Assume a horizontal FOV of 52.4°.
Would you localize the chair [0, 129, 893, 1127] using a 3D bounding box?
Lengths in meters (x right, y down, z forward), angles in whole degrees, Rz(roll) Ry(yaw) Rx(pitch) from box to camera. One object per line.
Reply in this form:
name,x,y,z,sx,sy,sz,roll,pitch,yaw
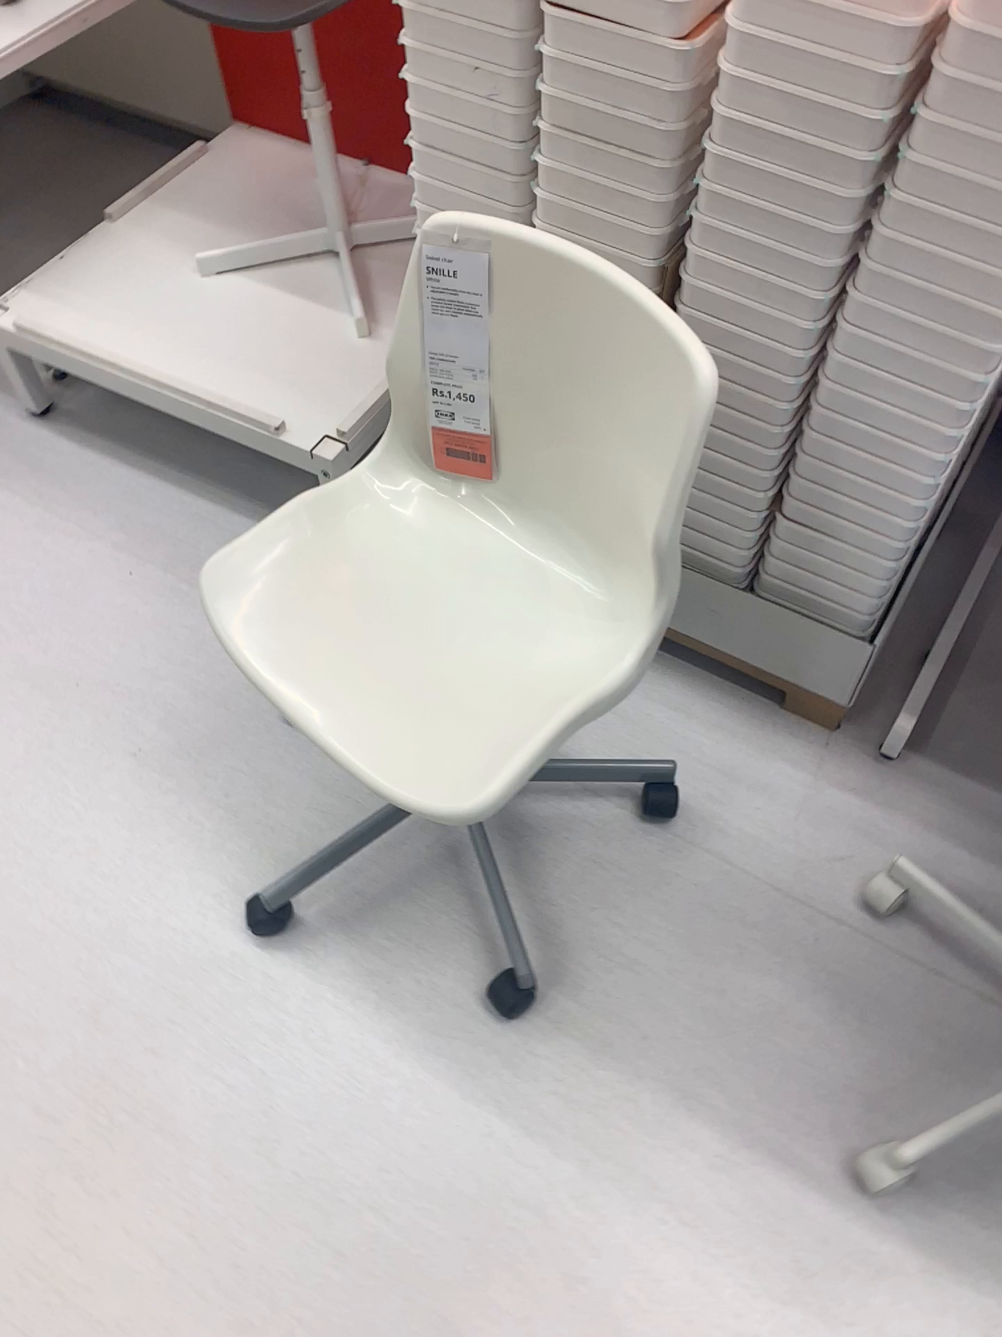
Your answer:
chair,-0.101,-0.042,1.183,0.641,0.688,0.681,35,63,24
